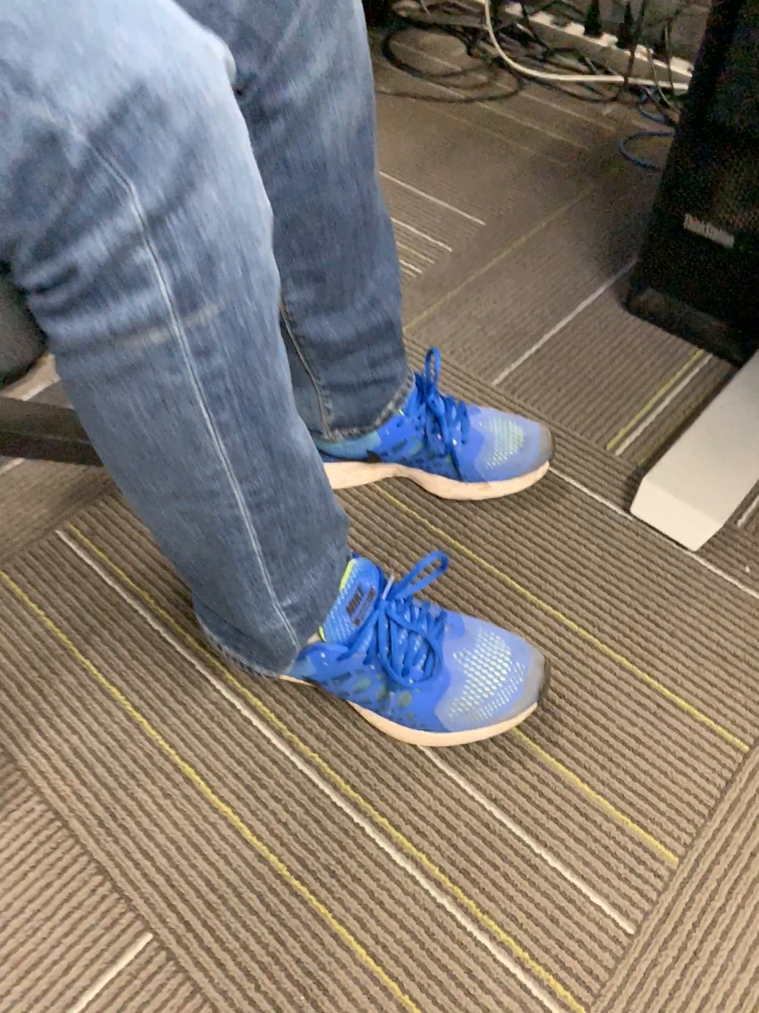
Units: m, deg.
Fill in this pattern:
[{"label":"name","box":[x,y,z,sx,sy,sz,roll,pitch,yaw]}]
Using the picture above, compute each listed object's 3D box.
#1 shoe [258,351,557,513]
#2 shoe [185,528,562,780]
[{"label":"shoe","box":[0.031,-0.077,0.793,0.278,0.083,0.117,5,53,5]},{"label":"shoe","box":[-0.002,0.119,0.653,0.278,0.083,0.118,13,54,10]}]
